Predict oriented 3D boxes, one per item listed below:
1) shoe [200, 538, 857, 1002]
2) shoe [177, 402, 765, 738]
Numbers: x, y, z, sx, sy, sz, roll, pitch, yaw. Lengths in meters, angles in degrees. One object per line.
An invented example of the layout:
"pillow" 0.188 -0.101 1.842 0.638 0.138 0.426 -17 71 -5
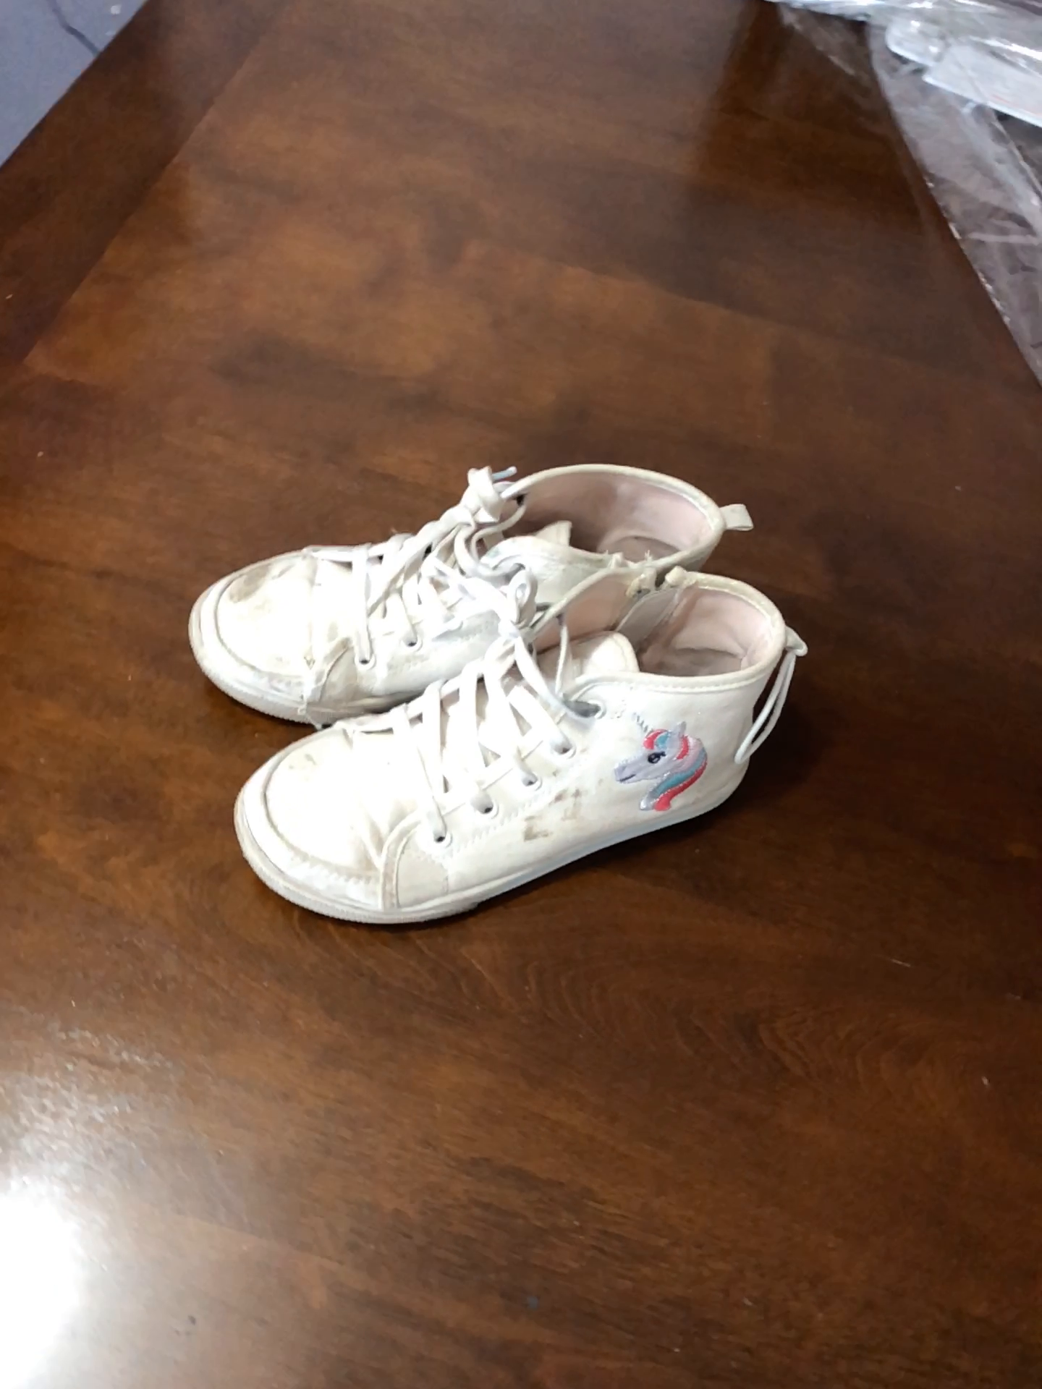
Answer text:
"shoe" 0.000 0.028 0.456 0.220 0.100 0.090 -16 62 -17
"shoe" -0.026 -0.053 0.492 0.220 0.100 0.090 -4 59 -11
